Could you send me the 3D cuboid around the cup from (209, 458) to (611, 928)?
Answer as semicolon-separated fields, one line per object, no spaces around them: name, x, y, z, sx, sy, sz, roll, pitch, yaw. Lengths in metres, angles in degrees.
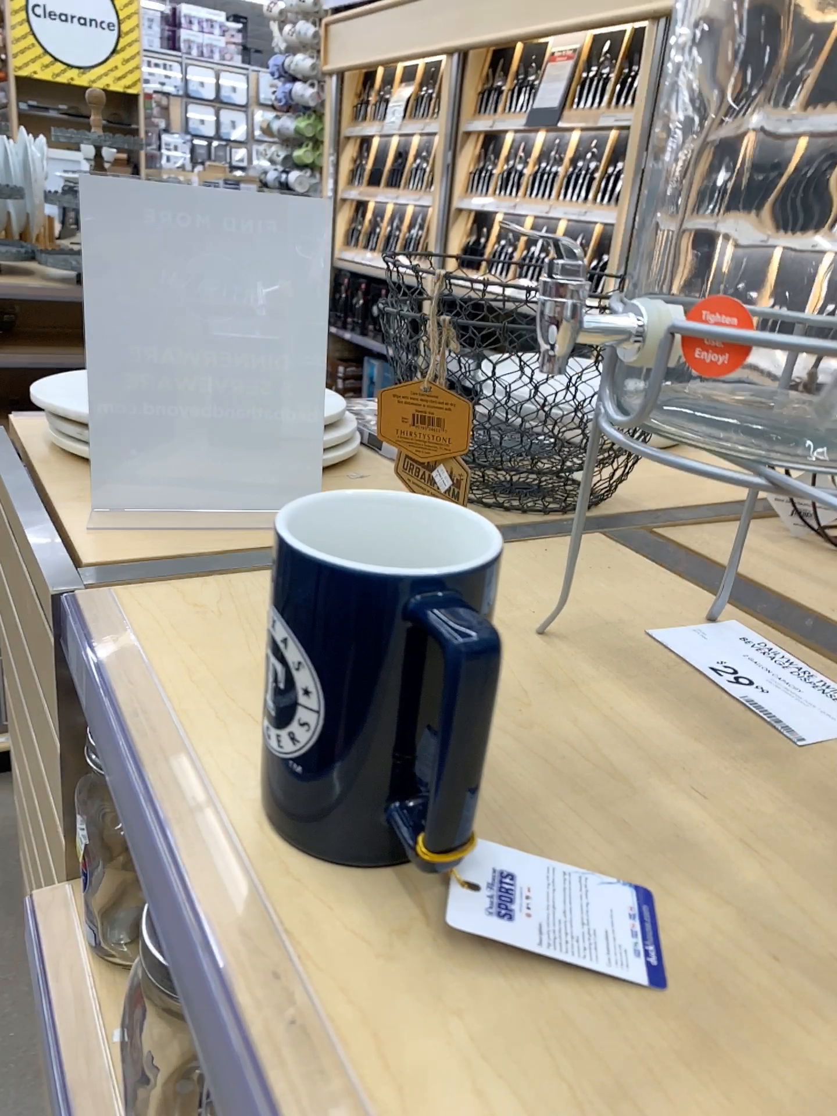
cup;-0.014;0.038;0.333;0.096;0.121;0.124;-6;24;-30
